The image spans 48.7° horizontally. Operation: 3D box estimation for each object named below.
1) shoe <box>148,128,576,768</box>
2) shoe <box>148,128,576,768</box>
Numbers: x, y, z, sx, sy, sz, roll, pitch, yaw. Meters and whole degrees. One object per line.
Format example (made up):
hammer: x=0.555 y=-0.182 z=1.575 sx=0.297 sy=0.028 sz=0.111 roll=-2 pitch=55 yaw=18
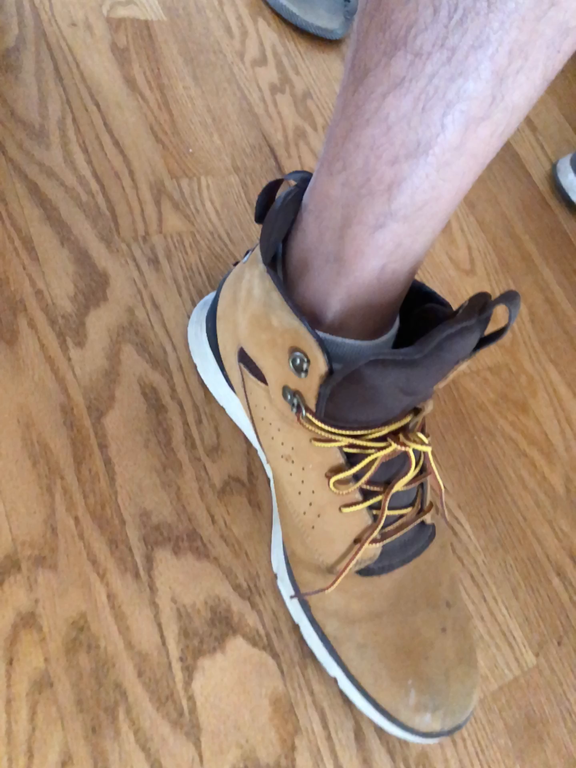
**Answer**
shoe: x=0.053 y=0.037 z=0.340 sx=0.130 sy=0.139 sz=0.310 roll=-15 pitch=72 yaw=-30
shoe: x=0.053 y=0.037 z=0.340 sx=0.130 sy=0.139 sz=0.310 roll=-15 pitch=72 yaw=-30
